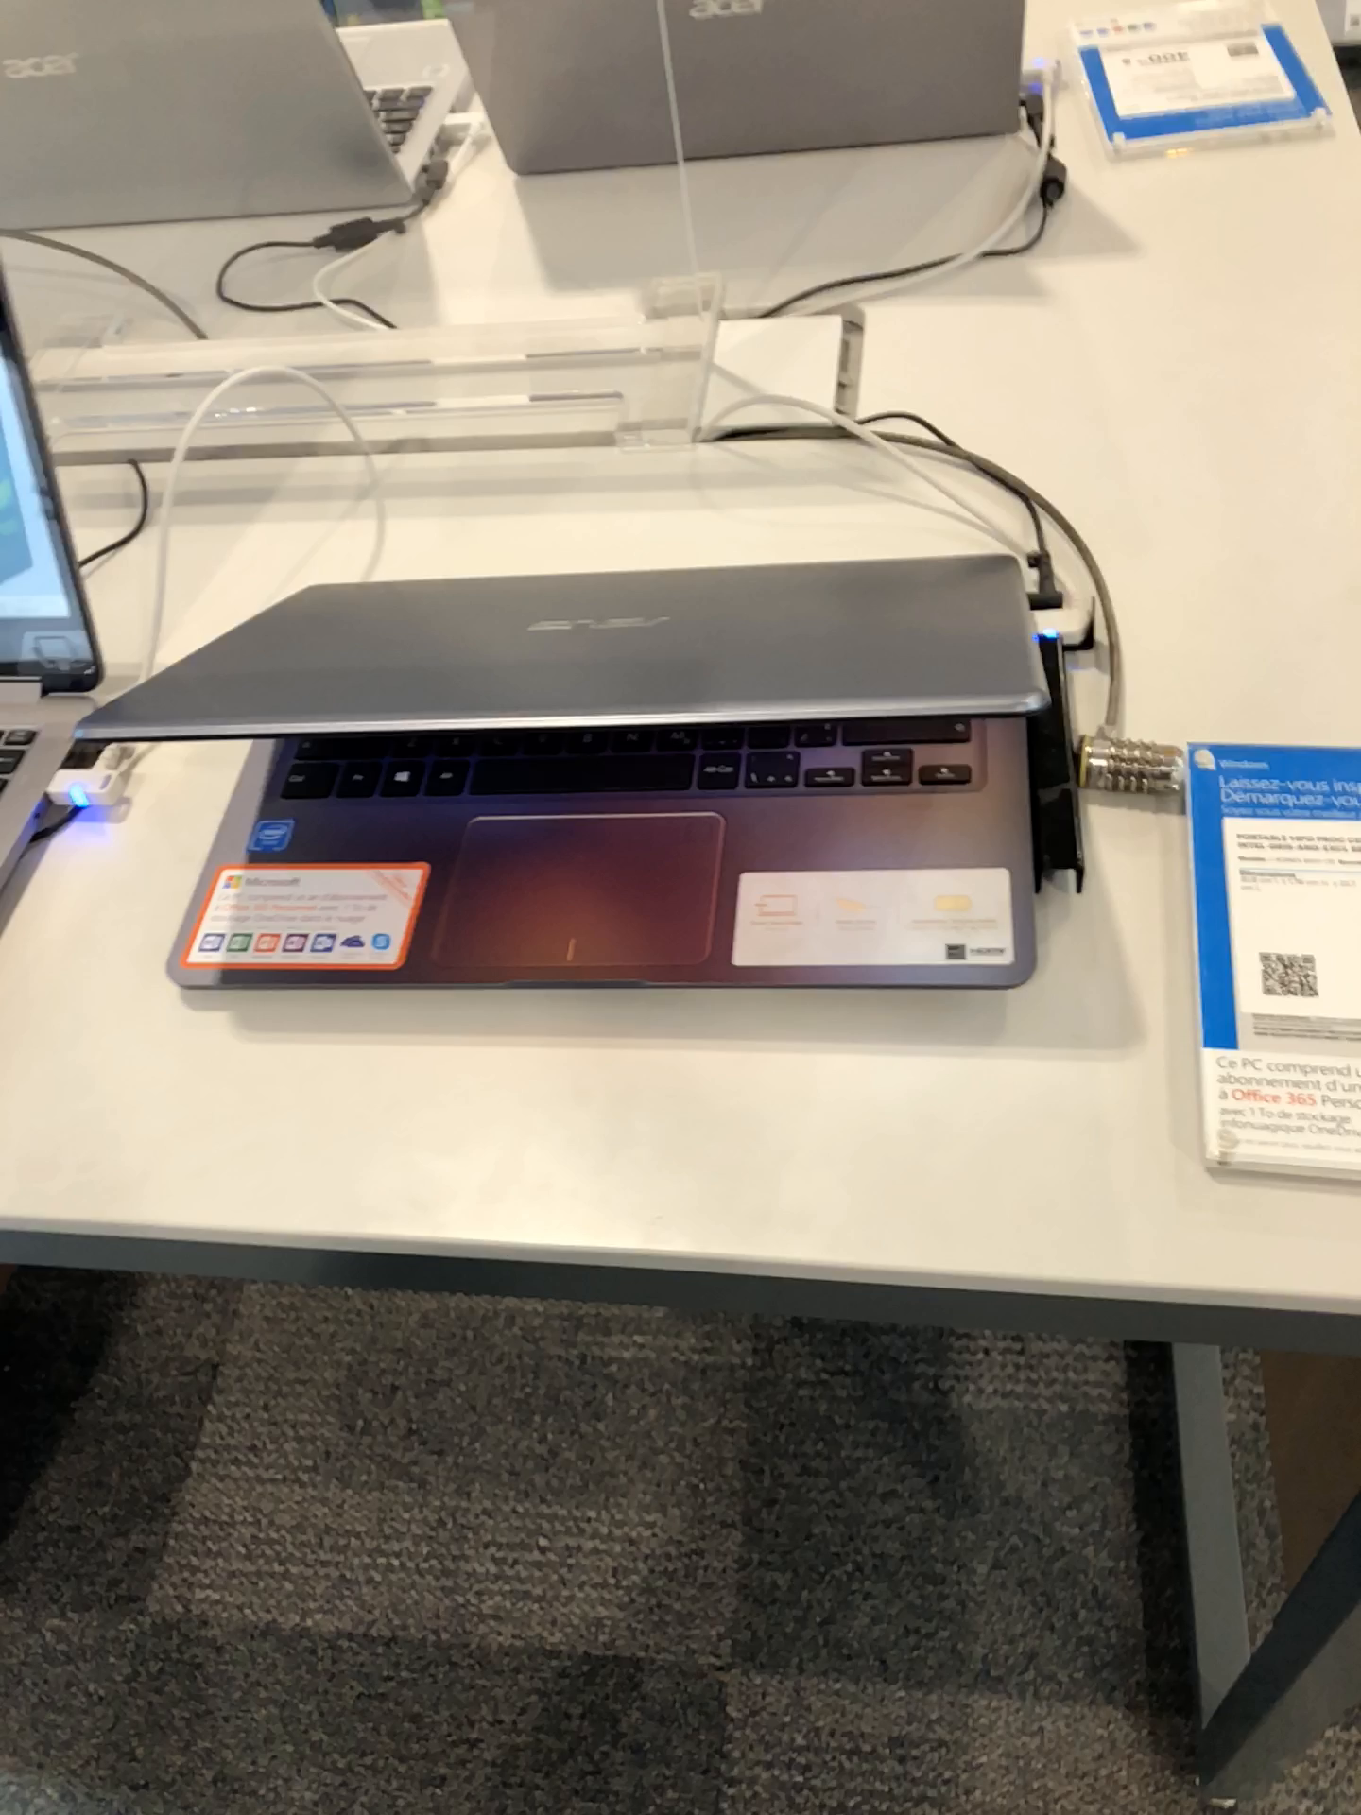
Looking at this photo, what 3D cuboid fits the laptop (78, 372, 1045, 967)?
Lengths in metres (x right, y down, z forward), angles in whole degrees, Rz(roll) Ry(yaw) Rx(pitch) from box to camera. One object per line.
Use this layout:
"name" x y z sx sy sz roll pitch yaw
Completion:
"laptop" -0.028 -0.088 0.554 0.300 0.099 0.202 0 51 9
